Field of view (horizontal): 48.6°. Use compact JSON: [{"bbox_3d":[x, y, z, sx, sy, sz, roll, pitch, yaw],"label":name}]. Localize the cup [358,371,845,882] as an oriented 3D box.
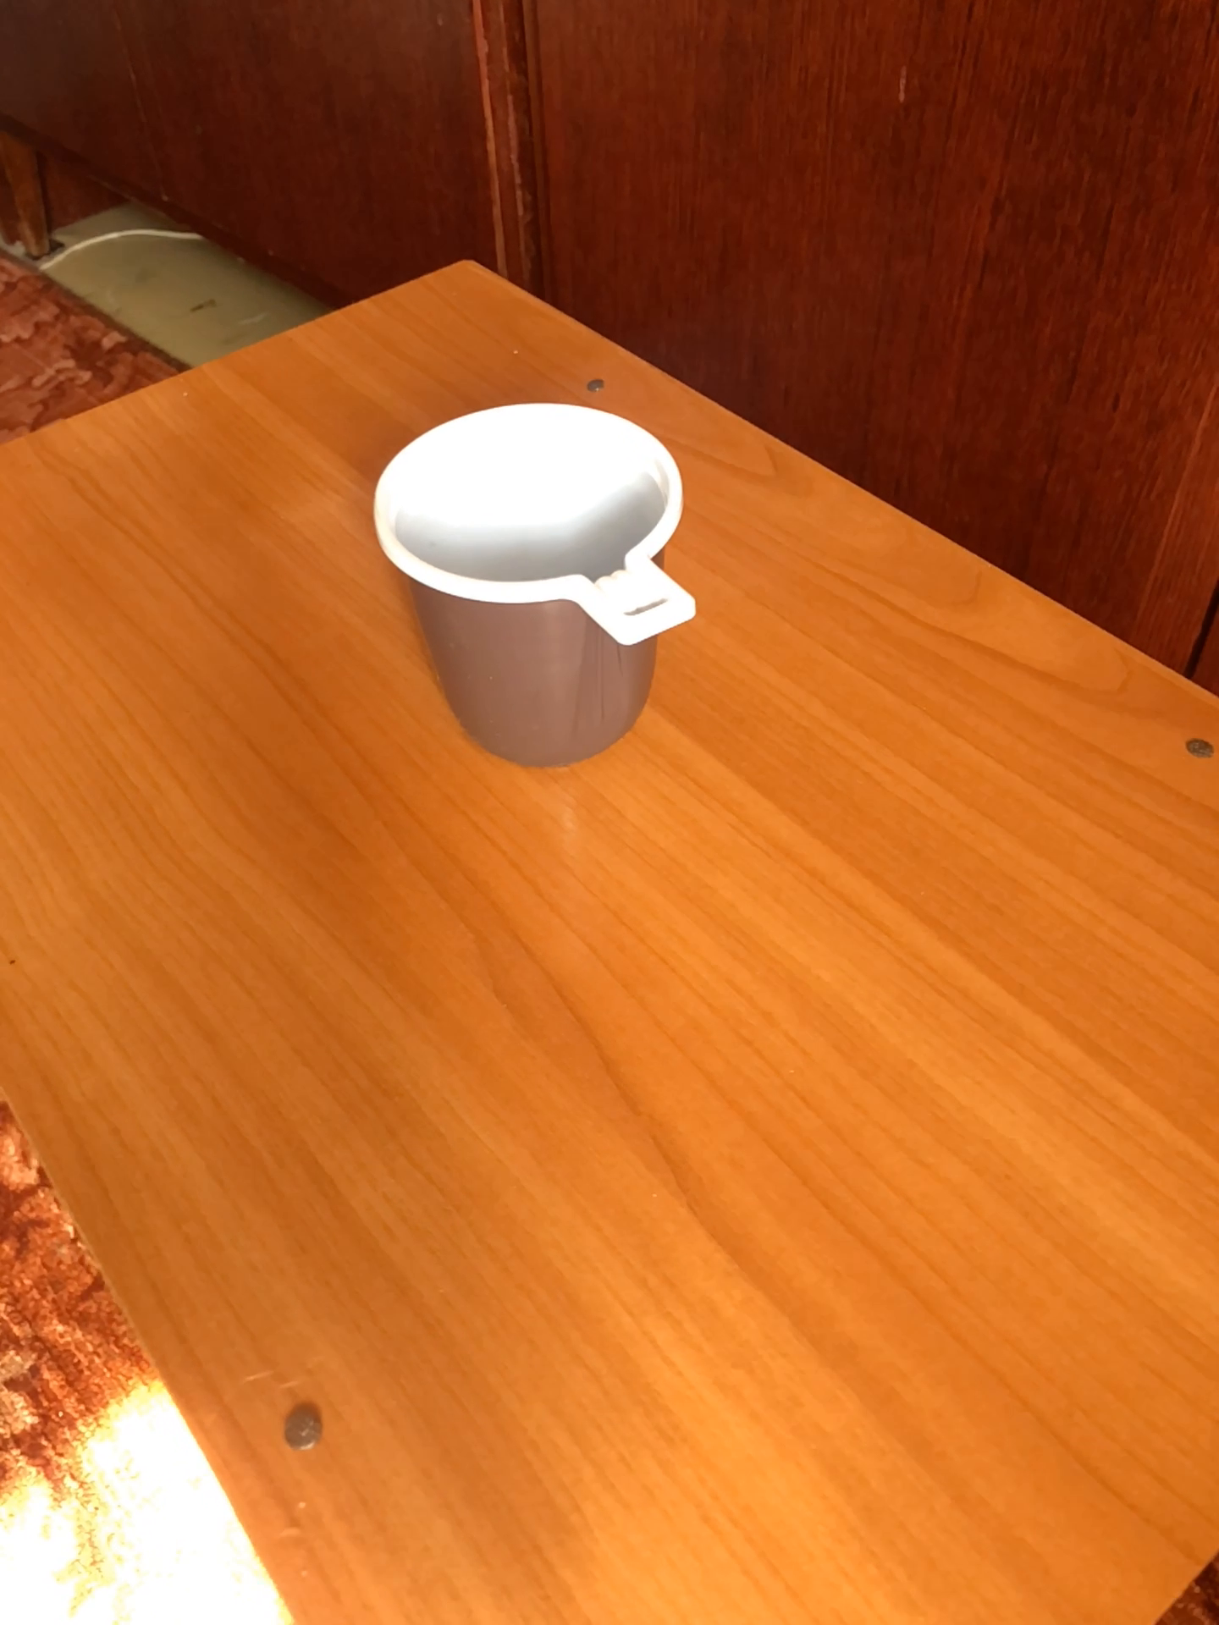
[{"bbox_3d":[-0.004,-0.049,0.330,0.070,0.060,0.100,-25,51,-19],"label":"cup"}]
